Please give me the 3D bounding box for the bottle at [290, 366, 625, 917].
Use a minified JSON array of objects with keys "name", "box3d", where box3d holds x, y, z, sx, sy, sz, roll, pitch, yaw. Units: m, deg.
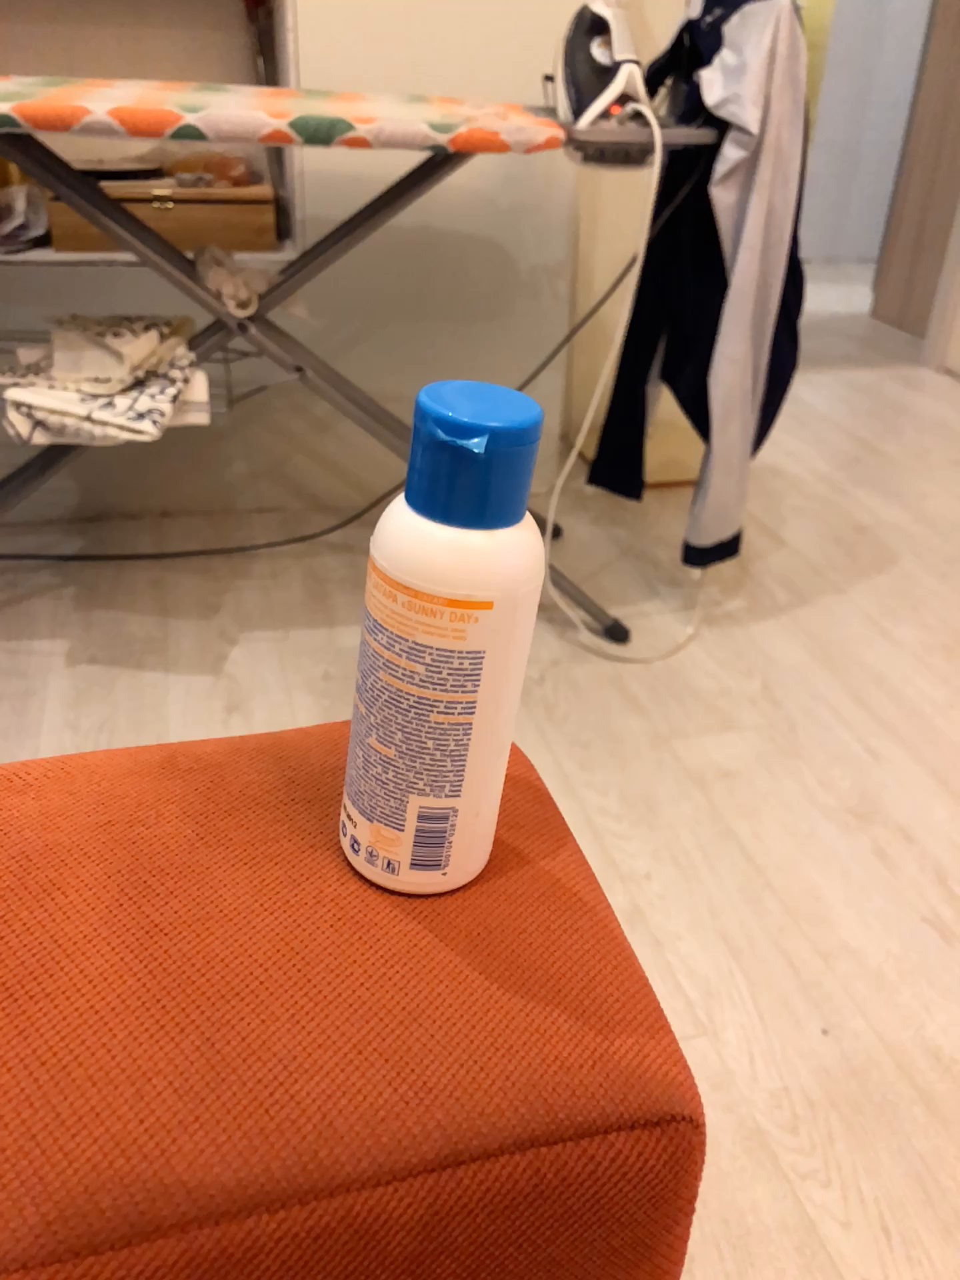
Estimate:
[{"name":"bottle","box3d":[-0.009,-0.001,0.246,0.044,0.112,0.047,7,24,-3]}]
